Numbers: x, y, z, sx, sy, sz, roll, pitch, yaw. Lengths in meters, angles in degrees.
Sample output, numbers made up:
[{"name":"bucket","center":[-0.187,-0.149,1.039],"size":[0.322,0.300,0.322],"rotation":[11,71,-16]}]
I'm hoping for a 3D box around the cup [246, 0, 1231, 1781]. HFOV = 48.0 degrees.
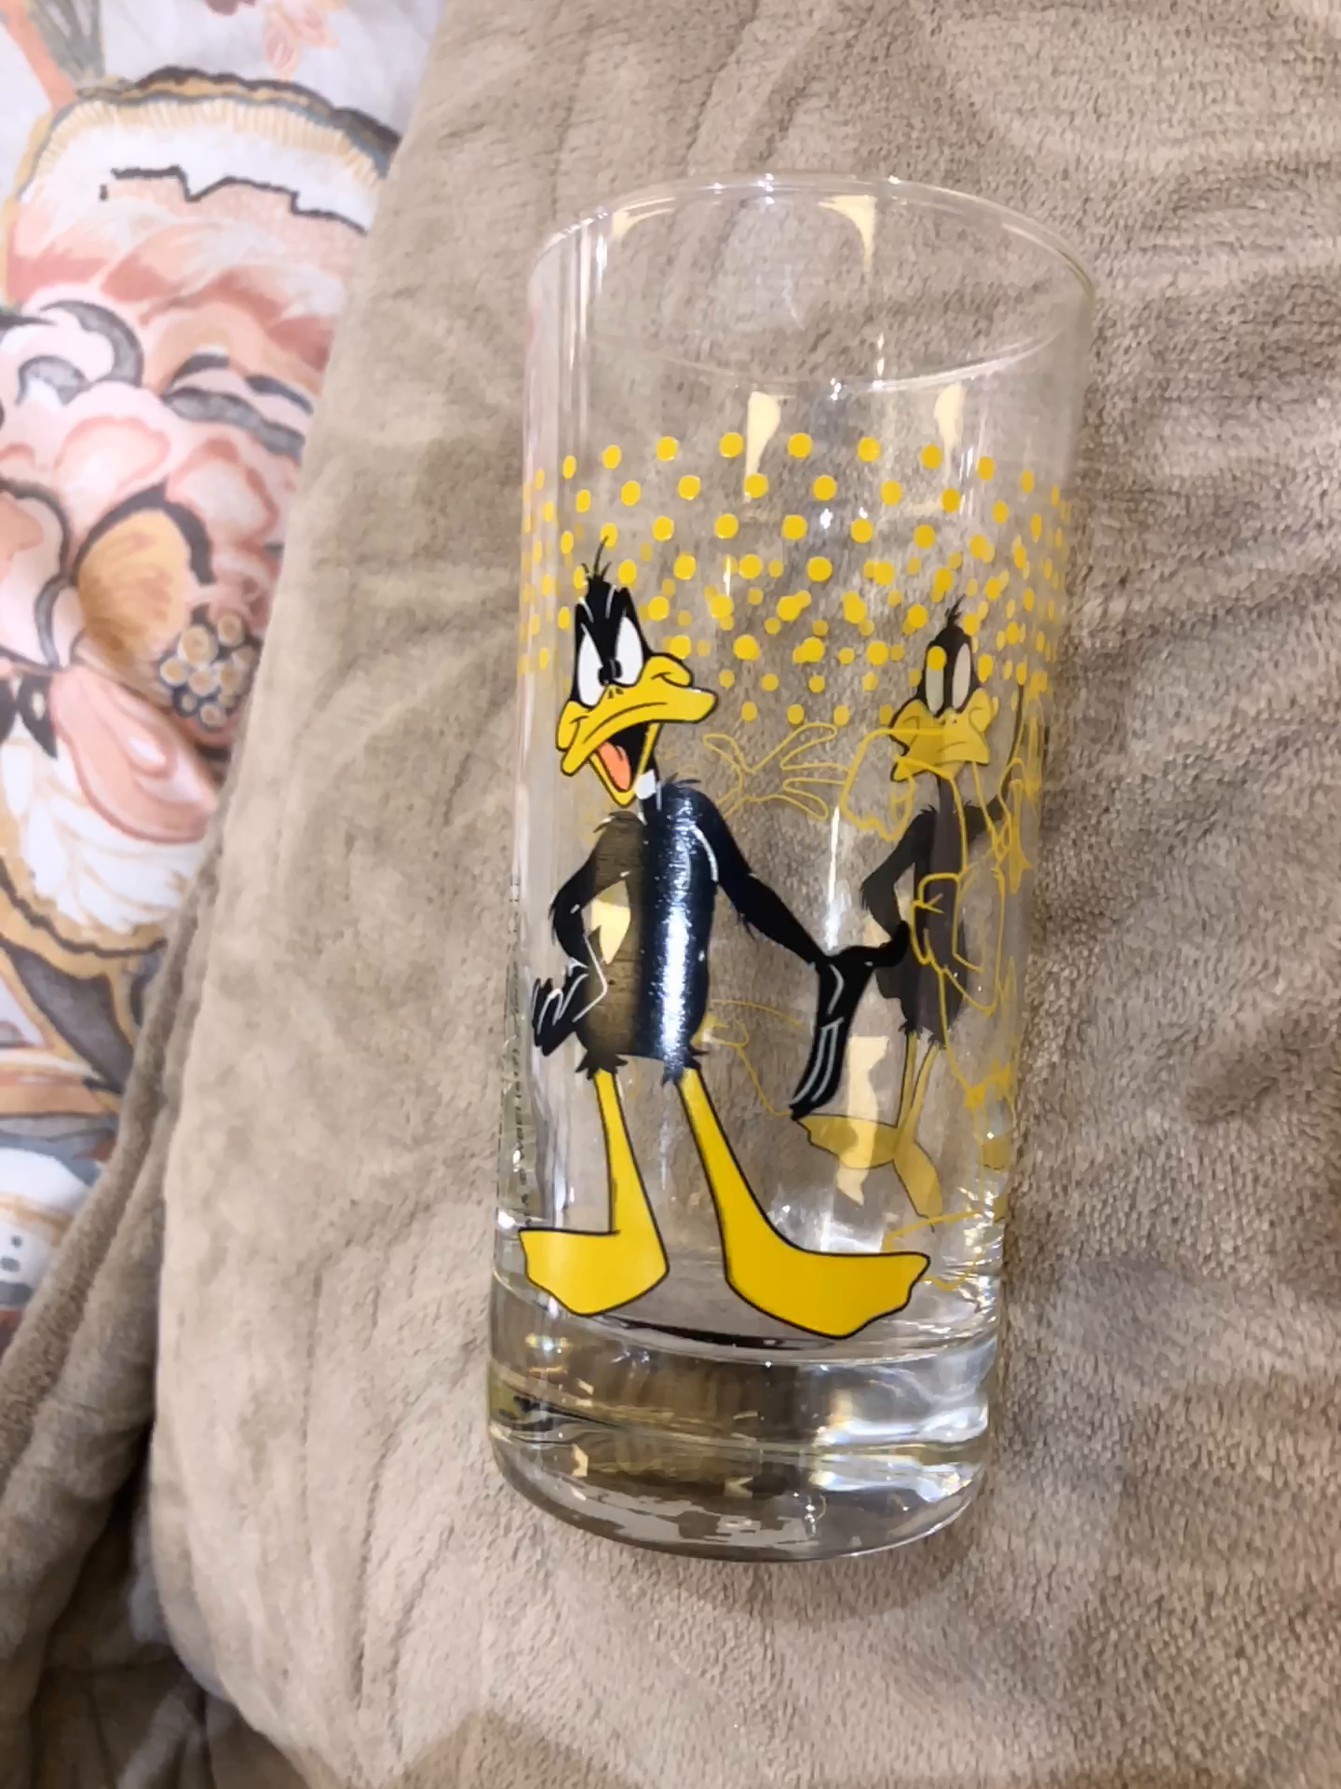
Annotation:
[{"name":"cup","center":[0.013,-0.007,0.173],"size":[0.070,0.070,0.160],"rotation":[3,83,34]}]
